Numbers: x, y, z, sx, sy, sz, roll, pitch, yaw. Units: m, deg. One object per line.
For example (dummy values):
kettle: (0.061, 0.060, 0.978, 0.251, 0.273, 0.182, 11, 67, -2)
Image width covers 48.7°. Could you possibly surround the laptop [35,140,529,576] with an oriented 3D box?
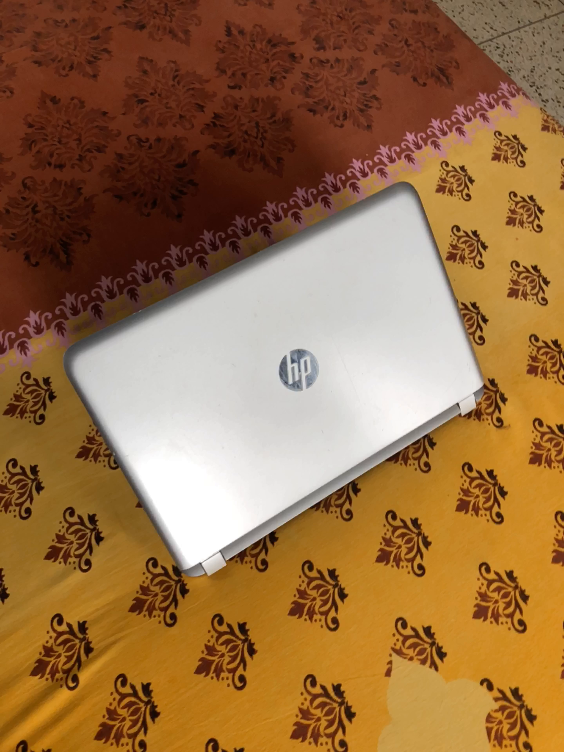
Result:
laptop: (-0.001, -0.024, 0.628, 0.372, 0.155, 0.249, -29, 69, -13)
